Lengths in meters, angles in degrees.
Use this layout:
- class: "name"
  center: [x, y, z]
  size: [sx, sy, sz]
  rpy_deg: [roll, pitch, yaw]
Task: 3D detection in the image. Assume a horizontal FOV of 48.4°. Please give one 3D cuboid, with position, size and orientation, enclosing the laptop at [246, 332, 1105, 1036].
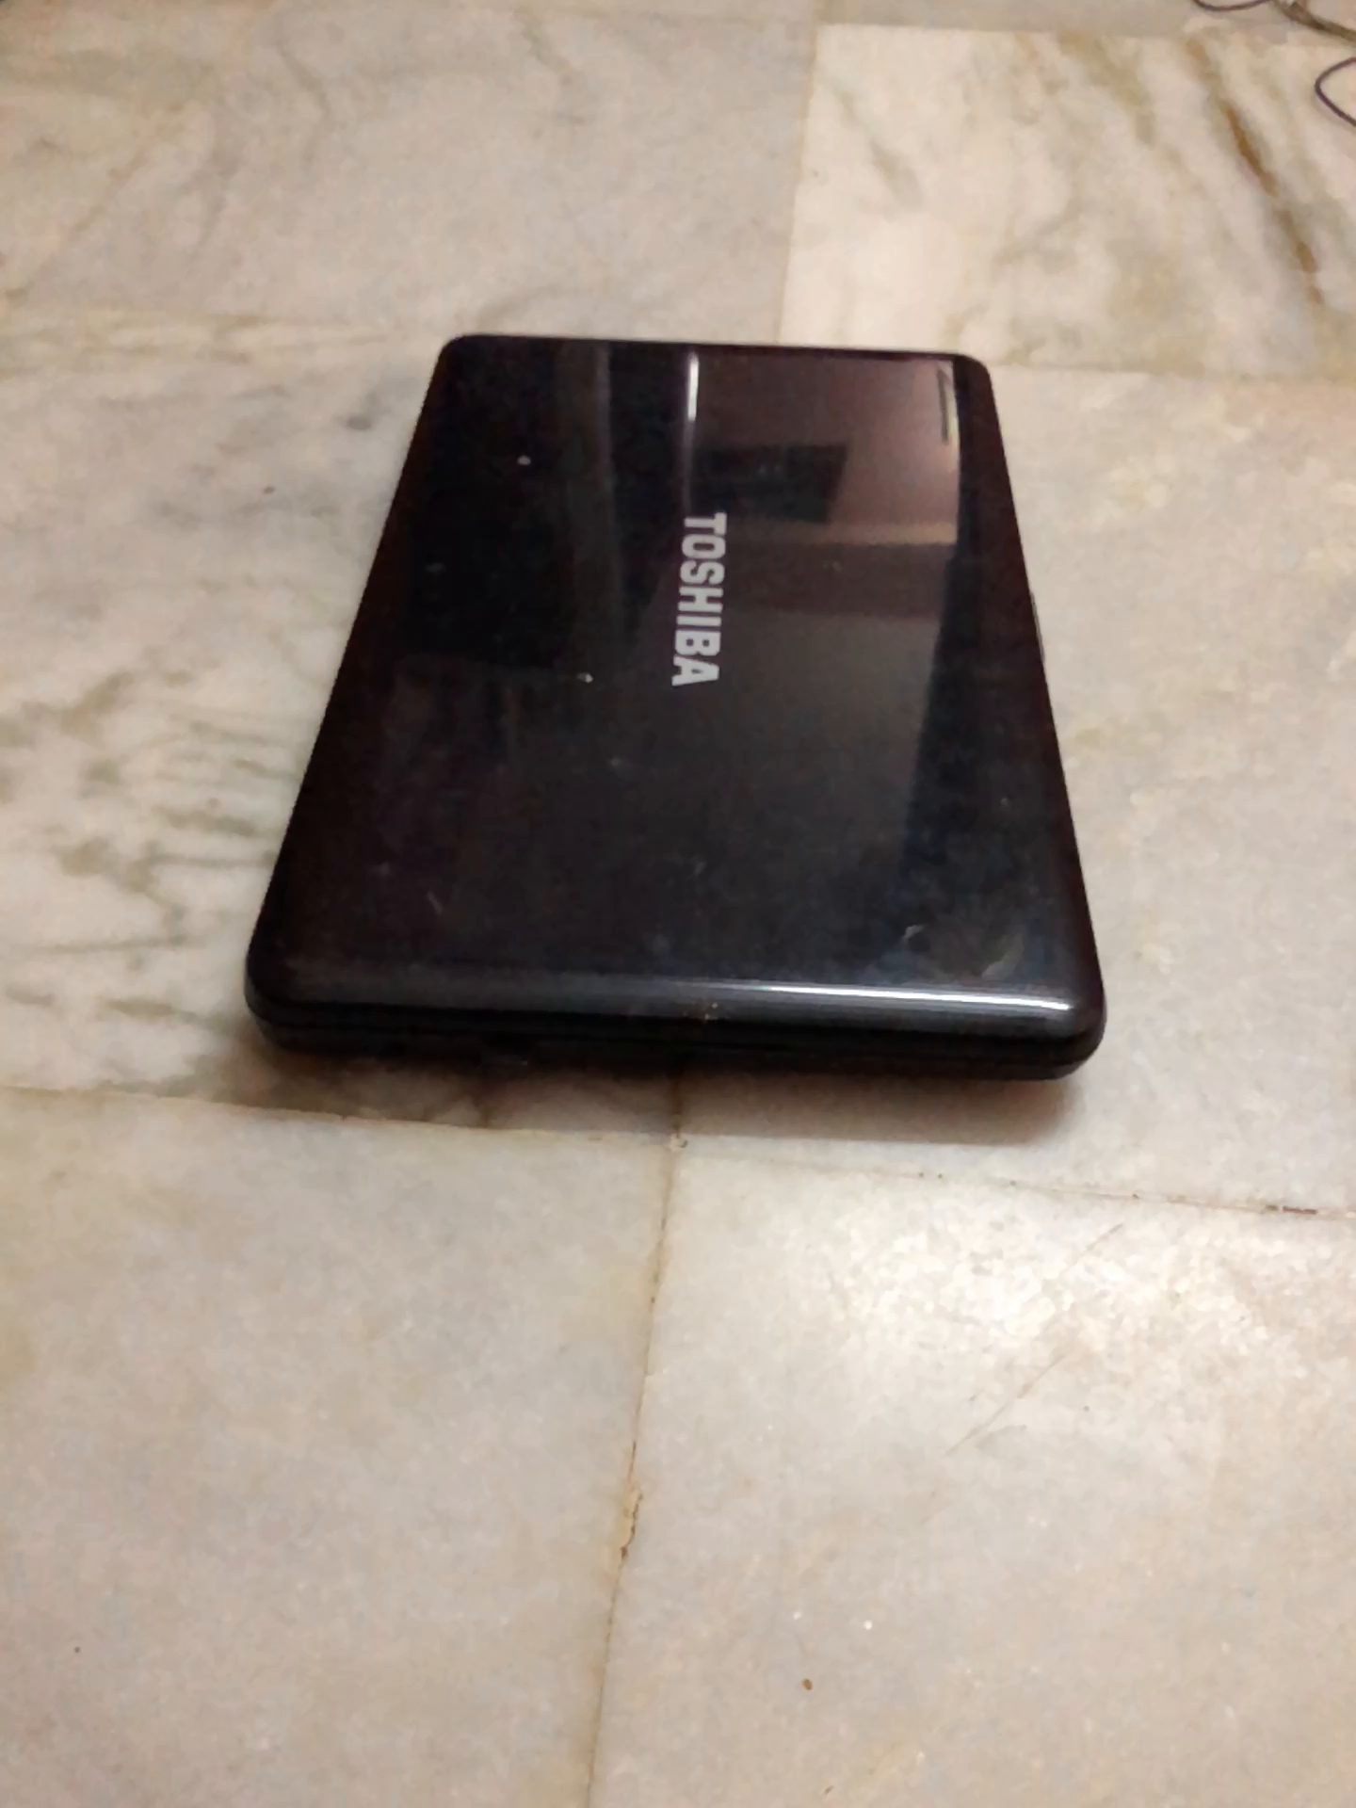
- class: "laptop"
  center: [0.008, -0.104, 0.517]
  size: [0.224, 0.004, 0.361]
  rpy_deg: [3, 47, 1]
